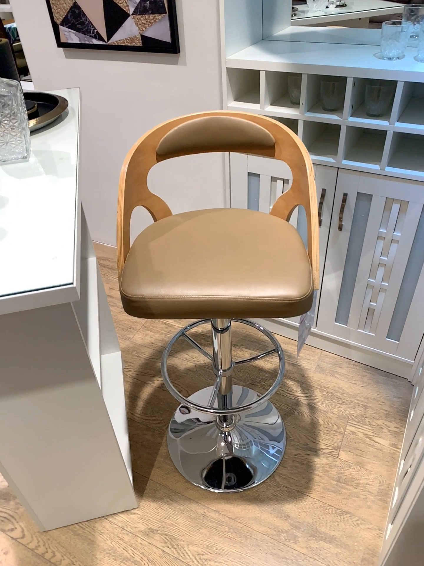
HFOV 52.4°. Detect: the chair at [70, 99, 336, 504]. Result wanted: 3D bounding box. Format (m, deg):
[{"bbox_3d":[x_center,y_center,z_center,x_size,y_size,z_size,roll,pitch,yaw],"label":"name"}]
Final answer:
[{"bbox_3d":[0.023,0.109,1.191,0.430,1.046,0.462,2,38,6],"label":"chair"}]
